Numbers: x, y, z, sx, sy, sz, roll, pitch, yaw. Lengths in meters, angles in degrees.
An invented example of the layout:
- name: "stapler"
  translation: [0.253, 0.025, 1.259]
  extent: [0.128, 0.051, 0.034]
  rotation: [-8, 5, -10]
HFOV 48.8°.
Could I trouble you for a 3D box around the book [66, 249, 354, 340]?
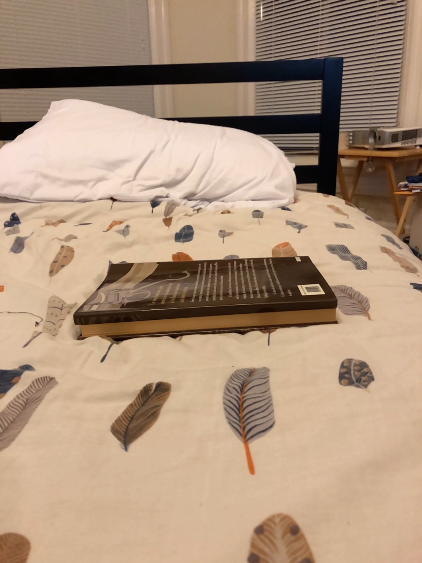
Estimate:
- name: "book"
  translation: [0.000, 0.006, 0.477]
  extent: [0.240, 0.030, 0.181]
  rotation: [-1, 18, 1]
